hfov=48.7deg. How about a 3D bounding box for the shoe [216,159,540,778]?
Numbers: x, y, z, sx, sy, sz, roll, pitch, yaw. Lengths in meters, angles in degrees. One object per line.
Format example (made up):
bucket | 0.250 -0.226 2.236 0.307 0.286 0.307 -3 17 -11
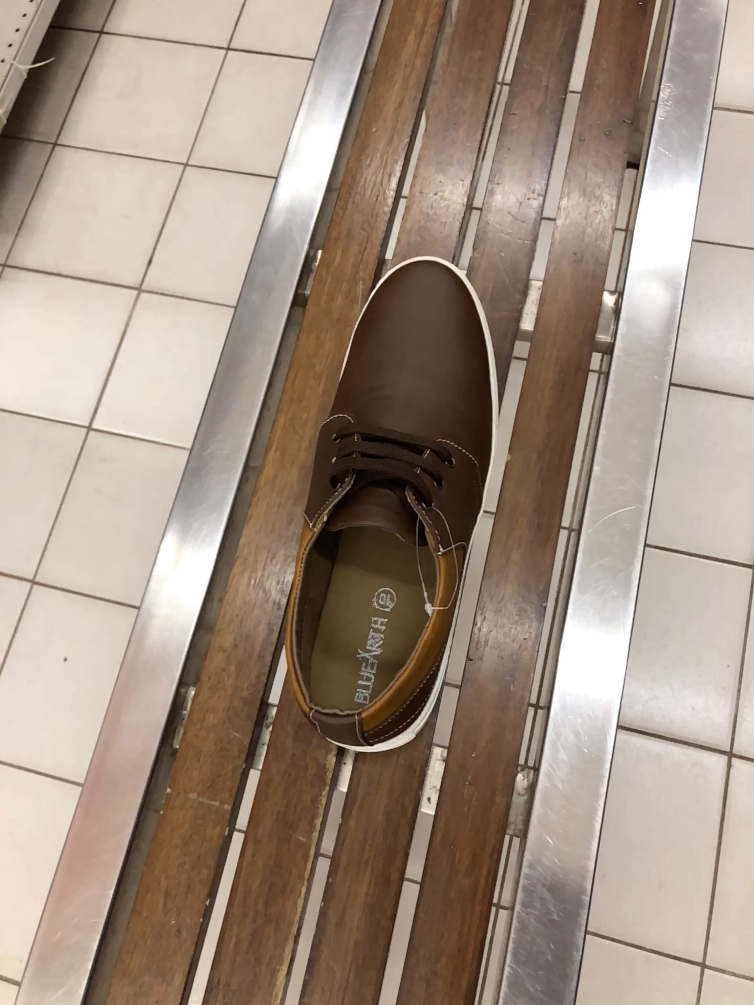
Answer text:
shoe | 0.013 -0.019 0.465 0.109 0.115 0.312 8 74 9
